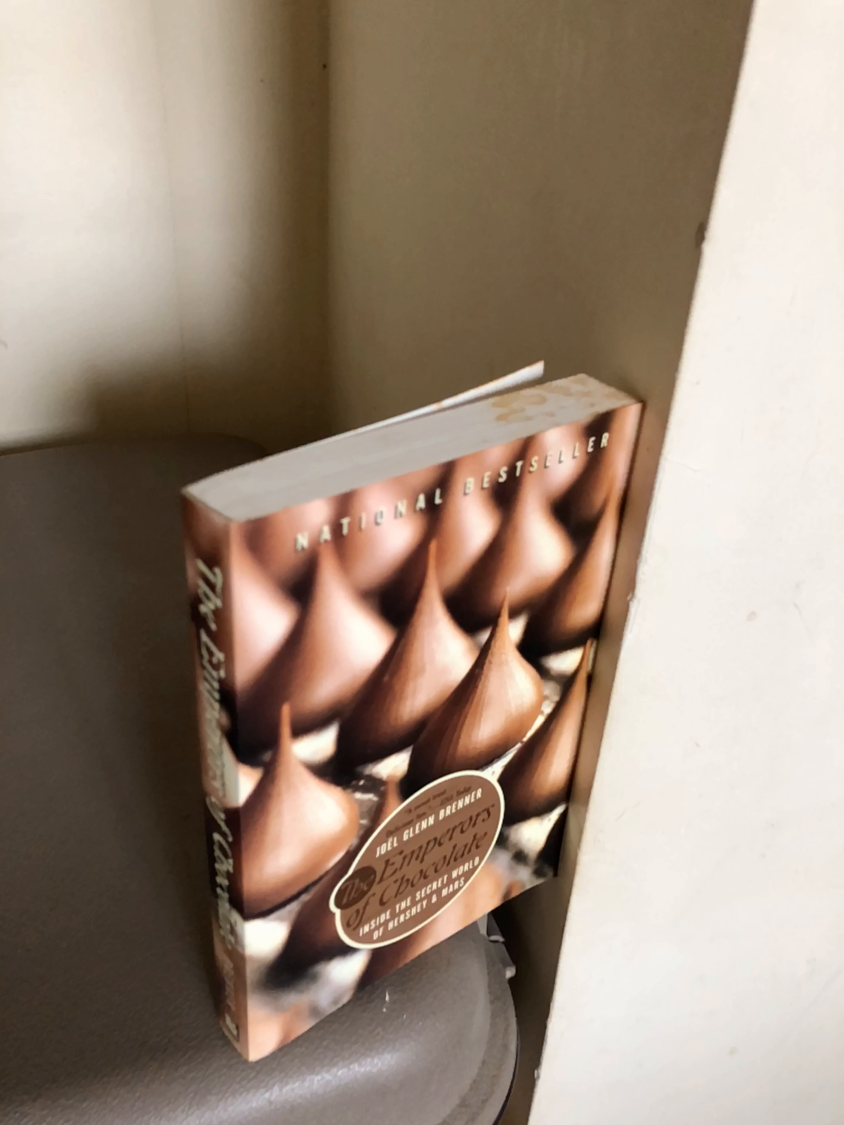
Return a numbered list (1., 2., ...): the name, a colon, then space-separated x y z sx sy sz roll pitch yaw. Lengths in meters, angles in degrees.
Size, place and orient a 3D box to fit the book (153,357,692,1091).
1. book: 0.005 0.049 0.304 0.160 0.199 0.040 -21 38 -36
